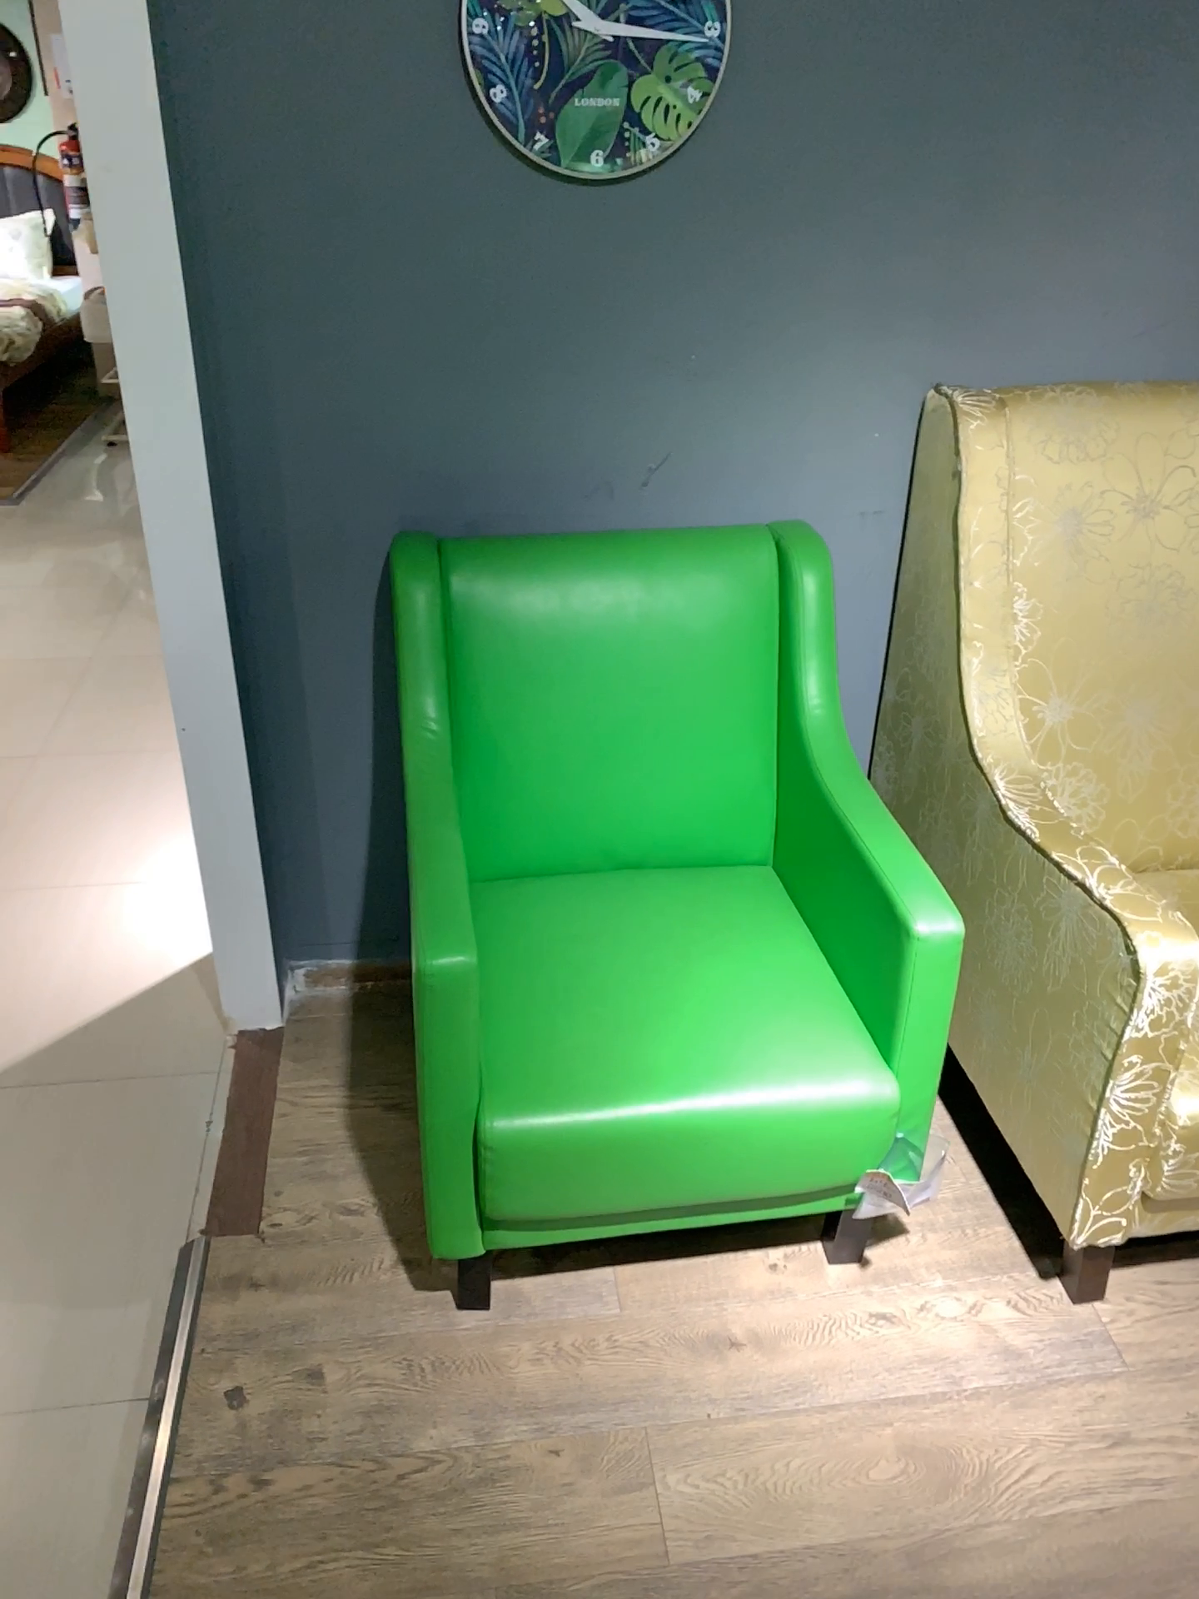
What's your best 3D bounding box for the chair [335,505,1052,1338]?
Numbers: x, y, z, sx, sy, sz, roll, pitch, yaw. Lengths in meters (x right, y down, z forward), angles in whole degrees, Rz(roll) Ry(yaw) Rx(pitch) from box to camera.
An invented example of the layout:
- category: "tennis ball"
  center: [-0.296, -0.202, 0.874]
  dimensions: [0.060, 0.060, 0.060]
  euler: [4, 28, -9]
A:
- category: "chair"
  center: [0.033, 0.100, 1.719]
  dimensions: [0.710, 0.786, 0.814]
  euler: [-4, 30, -9]
